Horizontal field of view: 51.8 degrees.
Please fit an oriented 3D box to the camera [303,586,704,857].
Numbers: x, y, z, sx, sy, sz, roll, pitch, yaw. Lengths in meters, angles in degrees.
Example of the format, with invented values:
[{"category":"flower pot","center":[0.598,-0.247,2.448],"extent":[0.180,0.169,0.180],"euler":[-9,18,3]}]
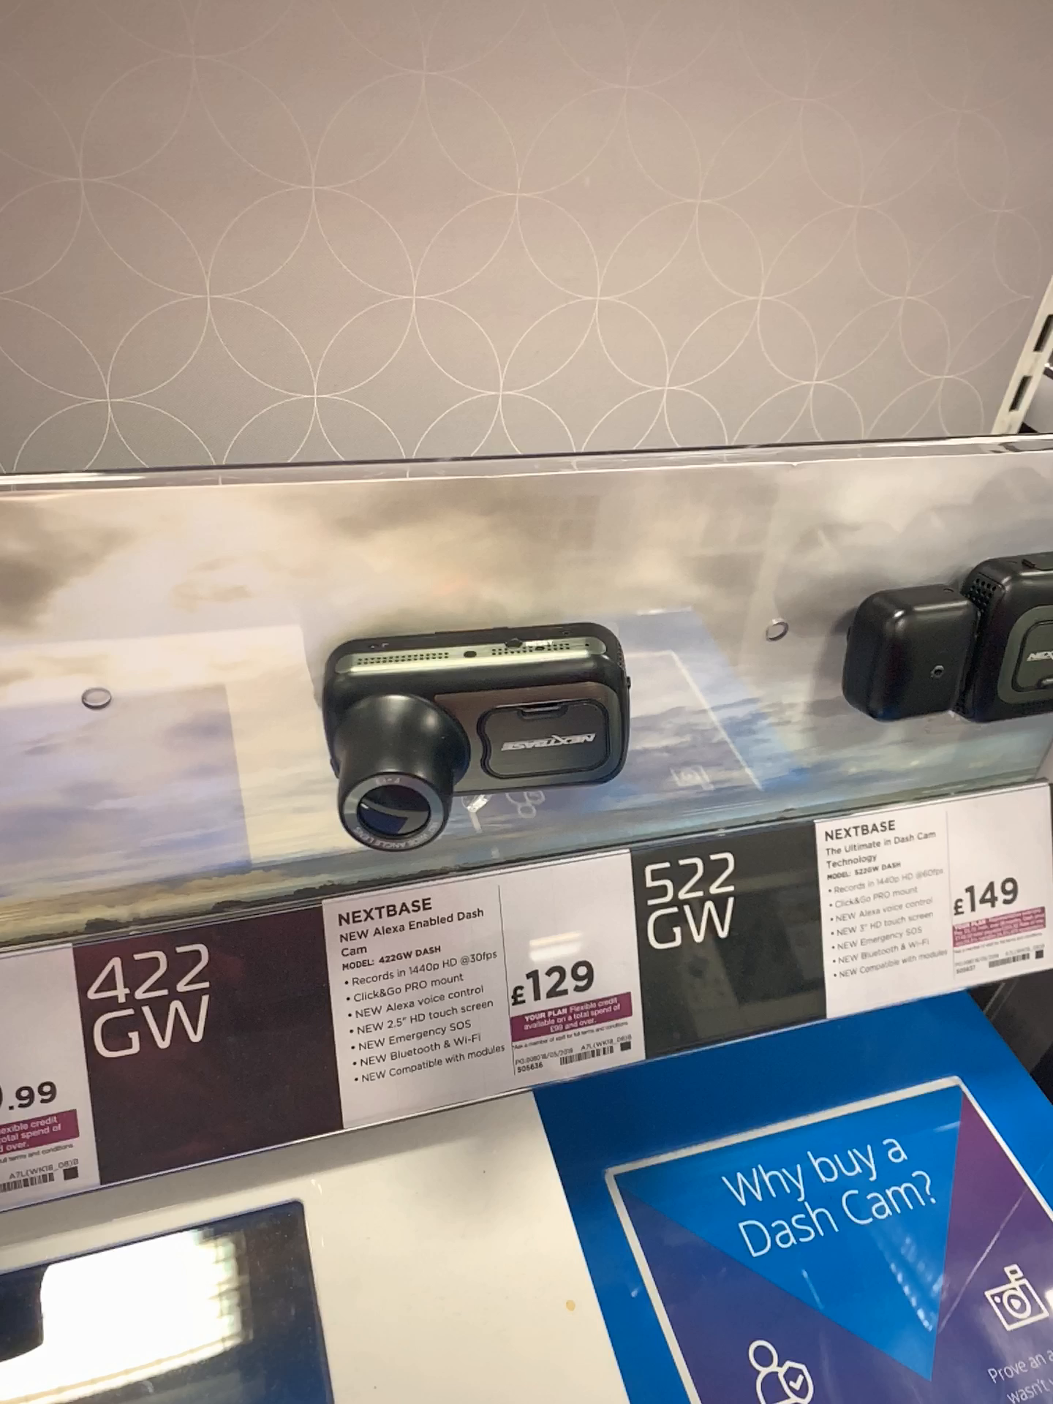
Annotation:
[{"category":"camera","center":[-0.004,0.004,0.275],"extent":[0.090,0.040,0.050],"euler":[-4,34,1]}]
